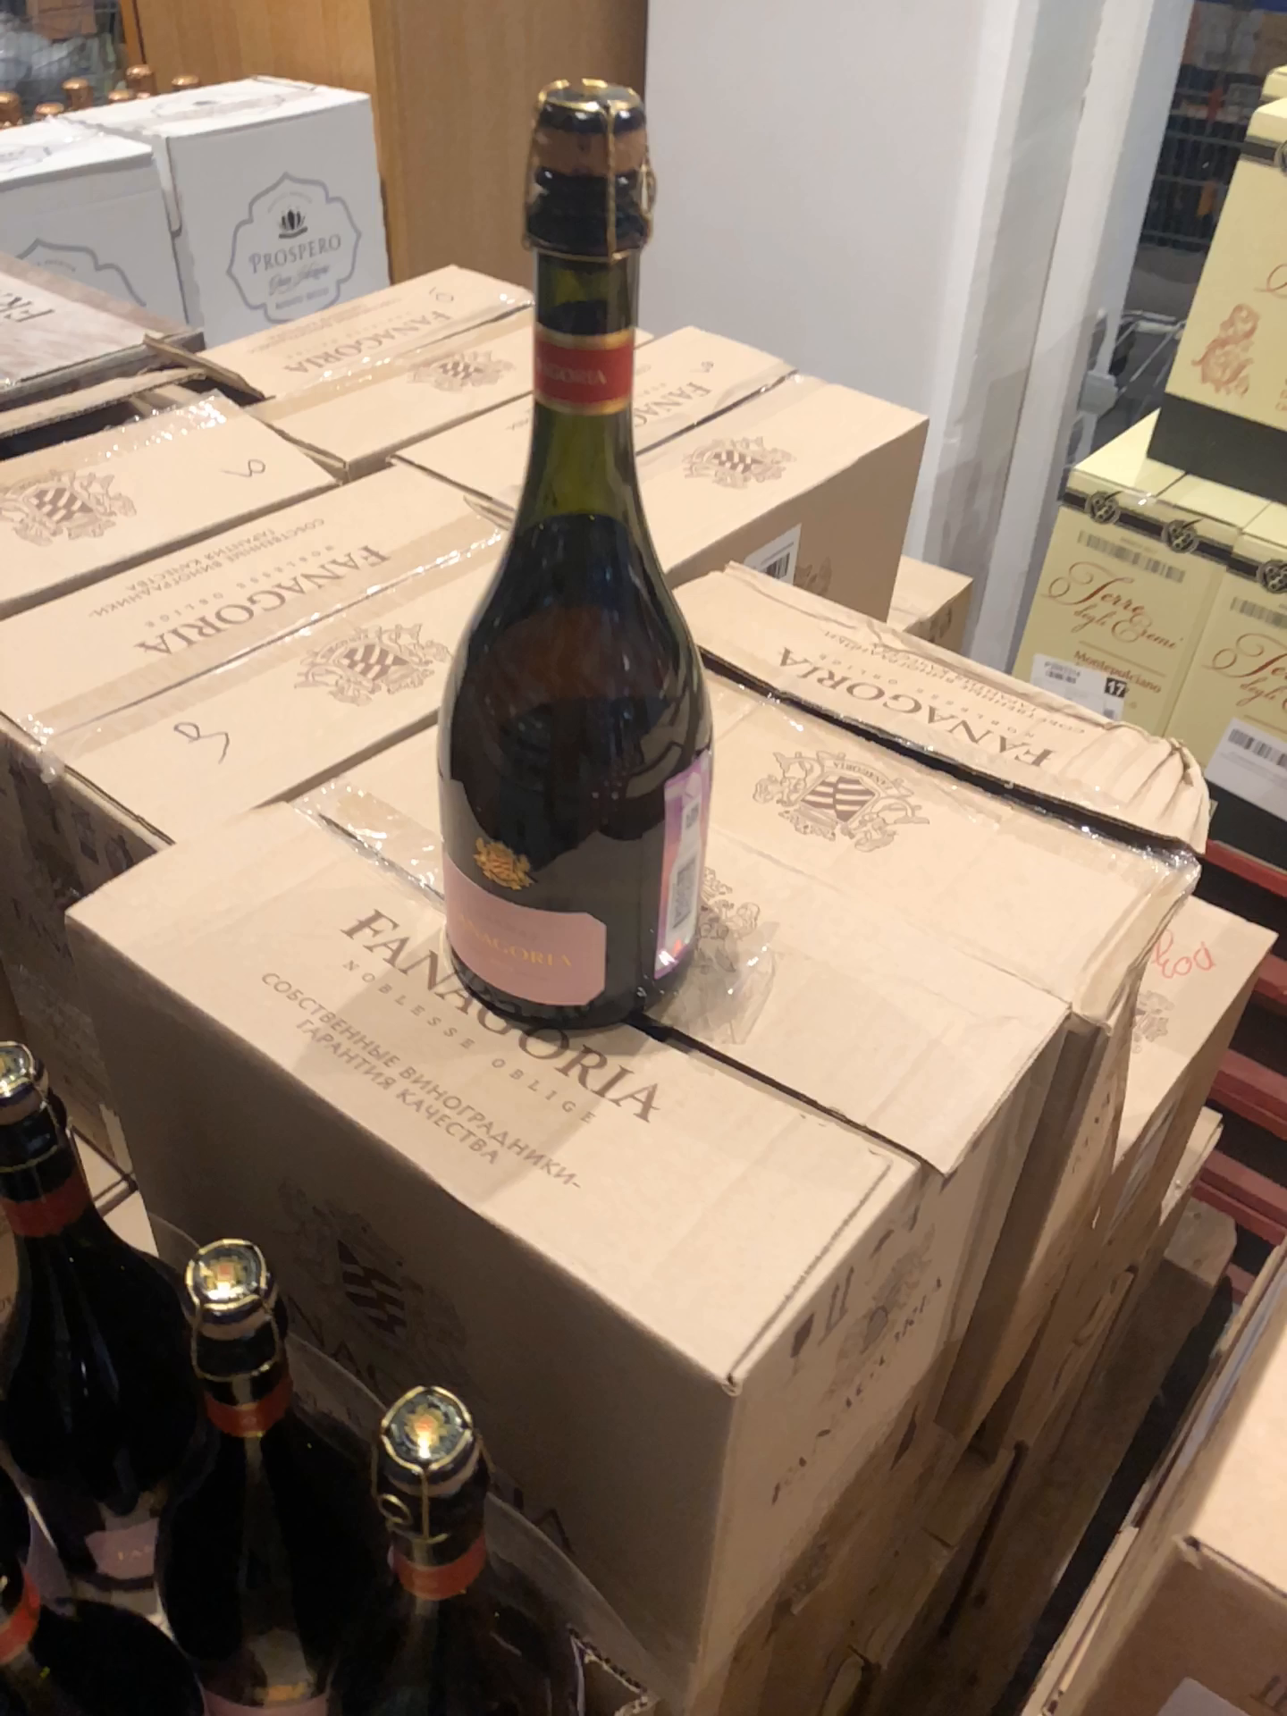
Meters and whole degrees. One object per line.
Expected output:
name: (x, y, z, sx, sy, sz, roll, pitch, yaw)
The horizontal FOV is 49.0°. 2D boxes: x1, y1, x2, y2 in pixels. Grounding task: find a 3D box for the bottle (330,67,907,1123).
bottle: (-0.009, -0.071, 0.453, 0.110, 0.298, 0.101, 2, 38, -1)
